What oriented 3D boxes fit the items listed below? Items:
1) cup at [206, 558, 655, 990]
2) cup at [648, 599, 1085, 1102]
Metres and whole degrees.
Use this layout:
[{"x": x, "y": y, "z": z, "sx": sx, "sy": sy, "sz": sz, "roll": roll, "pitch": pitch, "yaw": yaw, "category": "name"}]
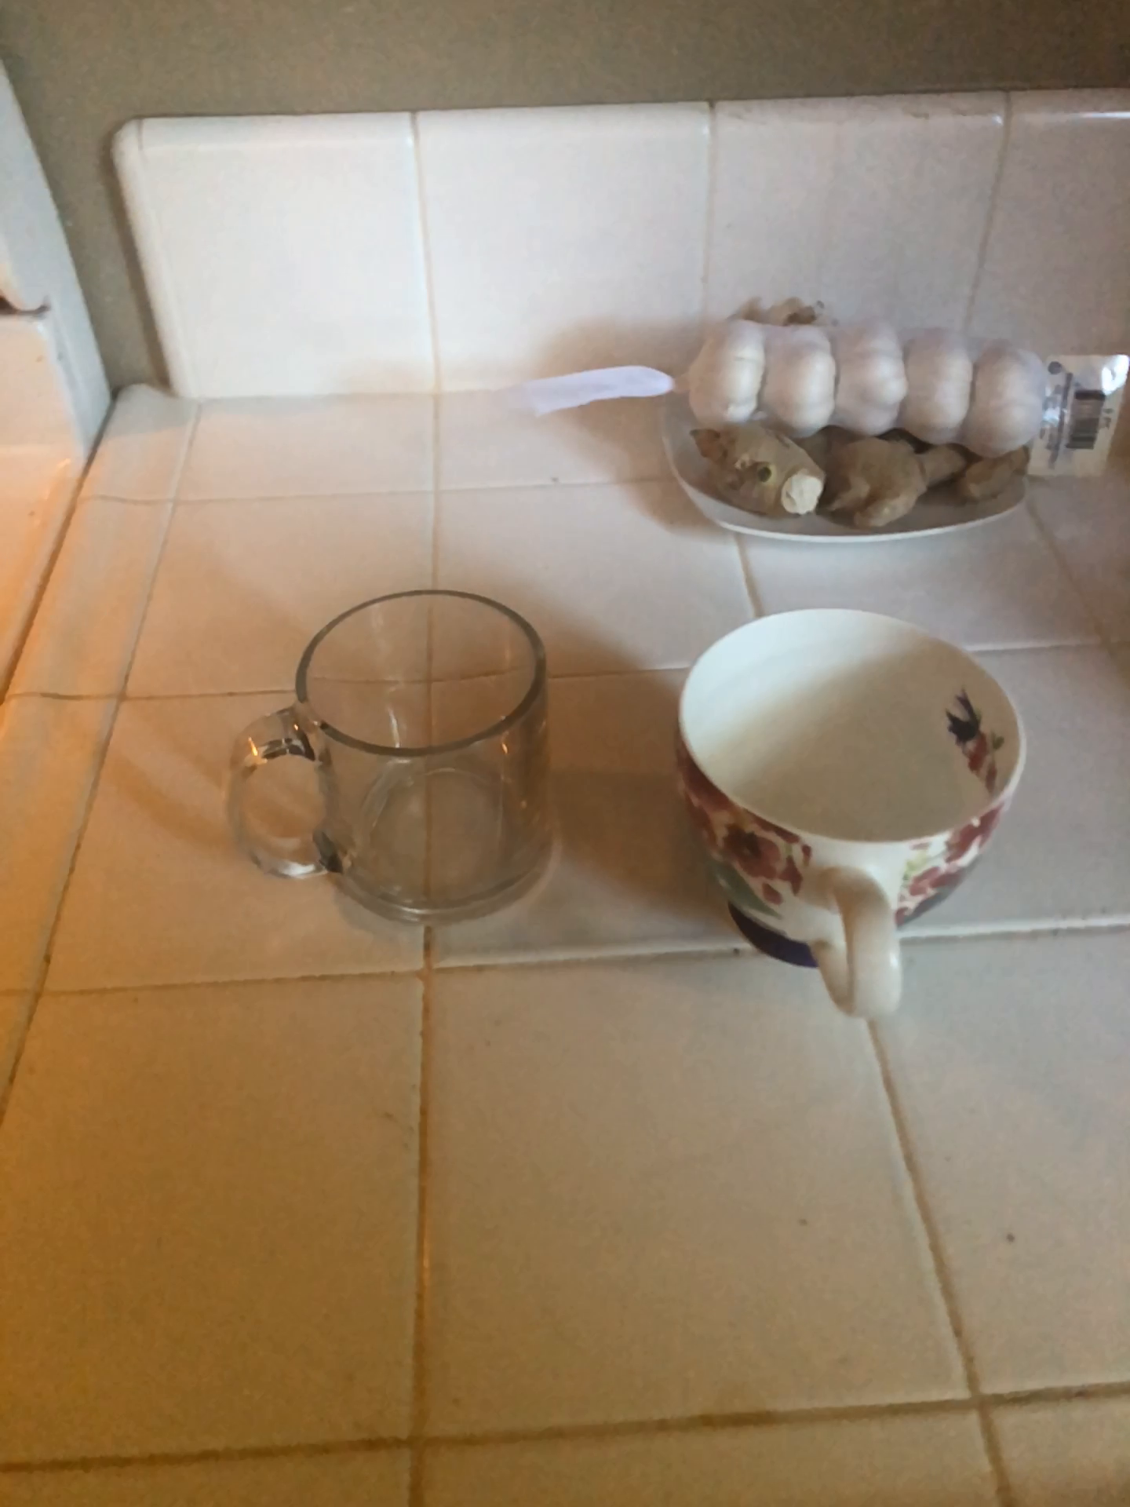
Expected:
[{"x": -0.047, "y": 0.004, "z": 0.427, "sx": 0.130, "sy": 0.079, "sz": 0.101, "roll": -10, "pitch": 46, "yaw": -9, "category": "cup"}, {"x": 0.083, "y": 0.027, "z": 0.402, "sx": 0.110, "sy": 0.079, "sz": 0.141, "roll": 1, "pitch": 46, "yaw": 2, "category": "cup"}]
